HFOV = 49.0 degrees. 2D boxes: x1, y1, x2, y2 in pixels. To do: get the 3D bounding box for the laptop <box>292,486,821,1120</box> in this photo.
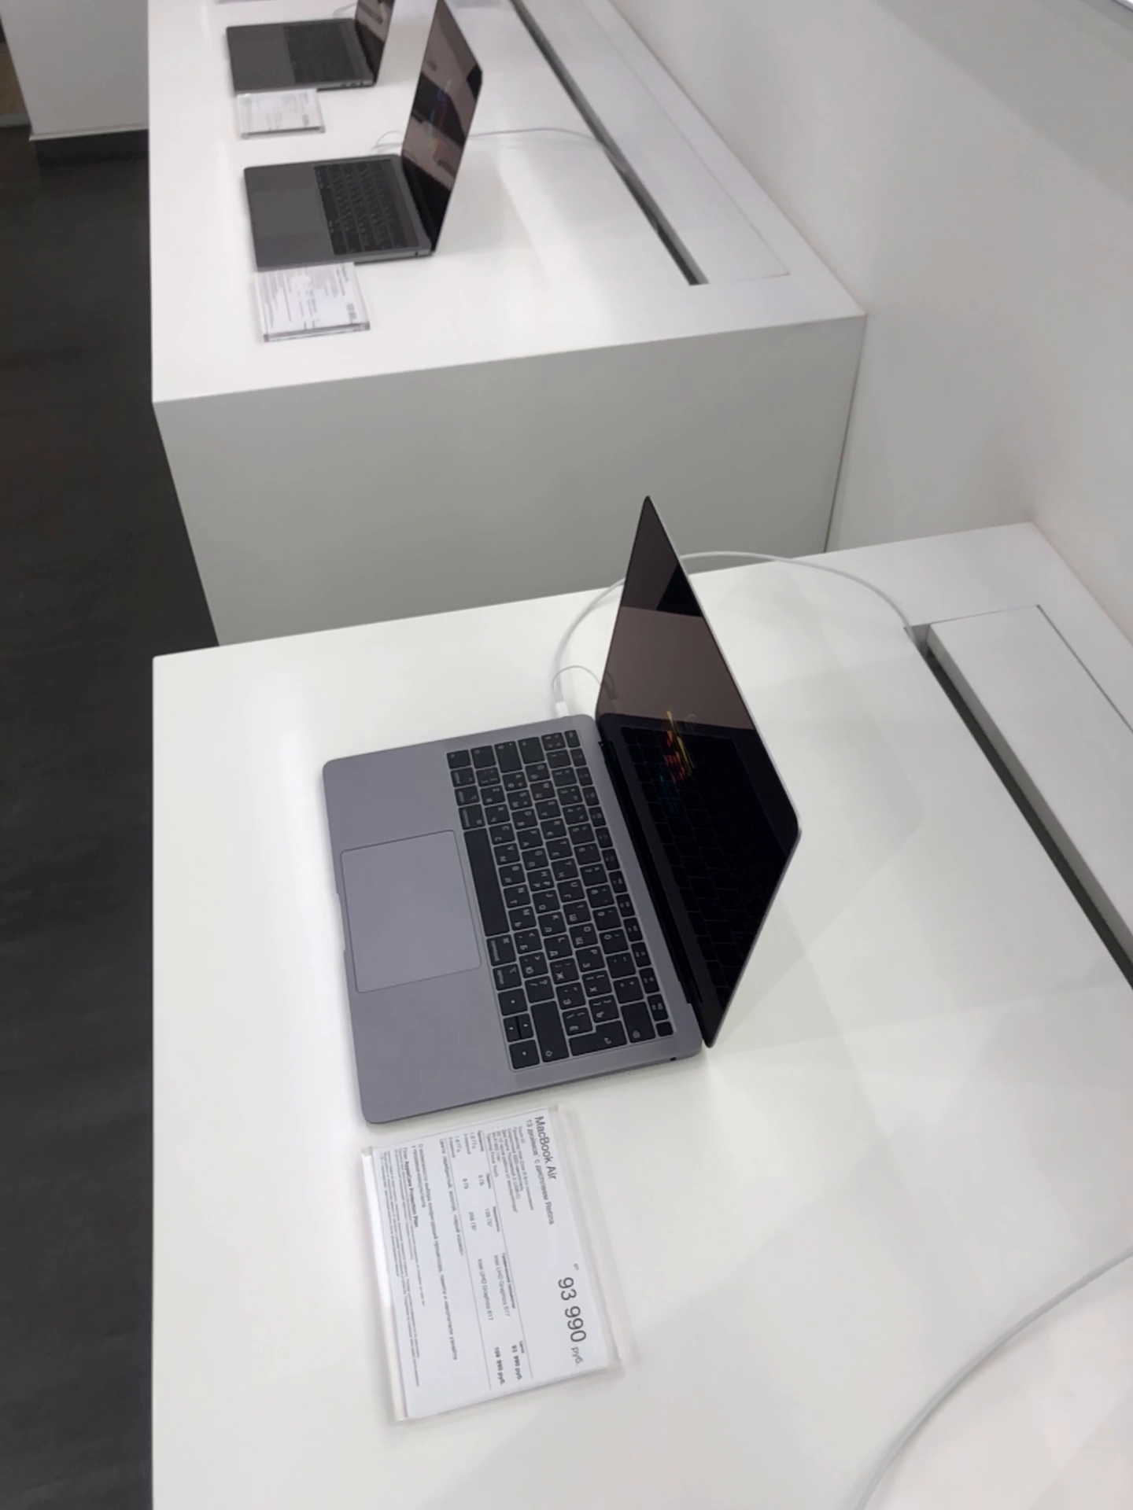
[{"bbox_3d":[-0.022,0.019,0.772,0.250,0.194,0.286,-11,47,-7],"label":"laptop"}]
